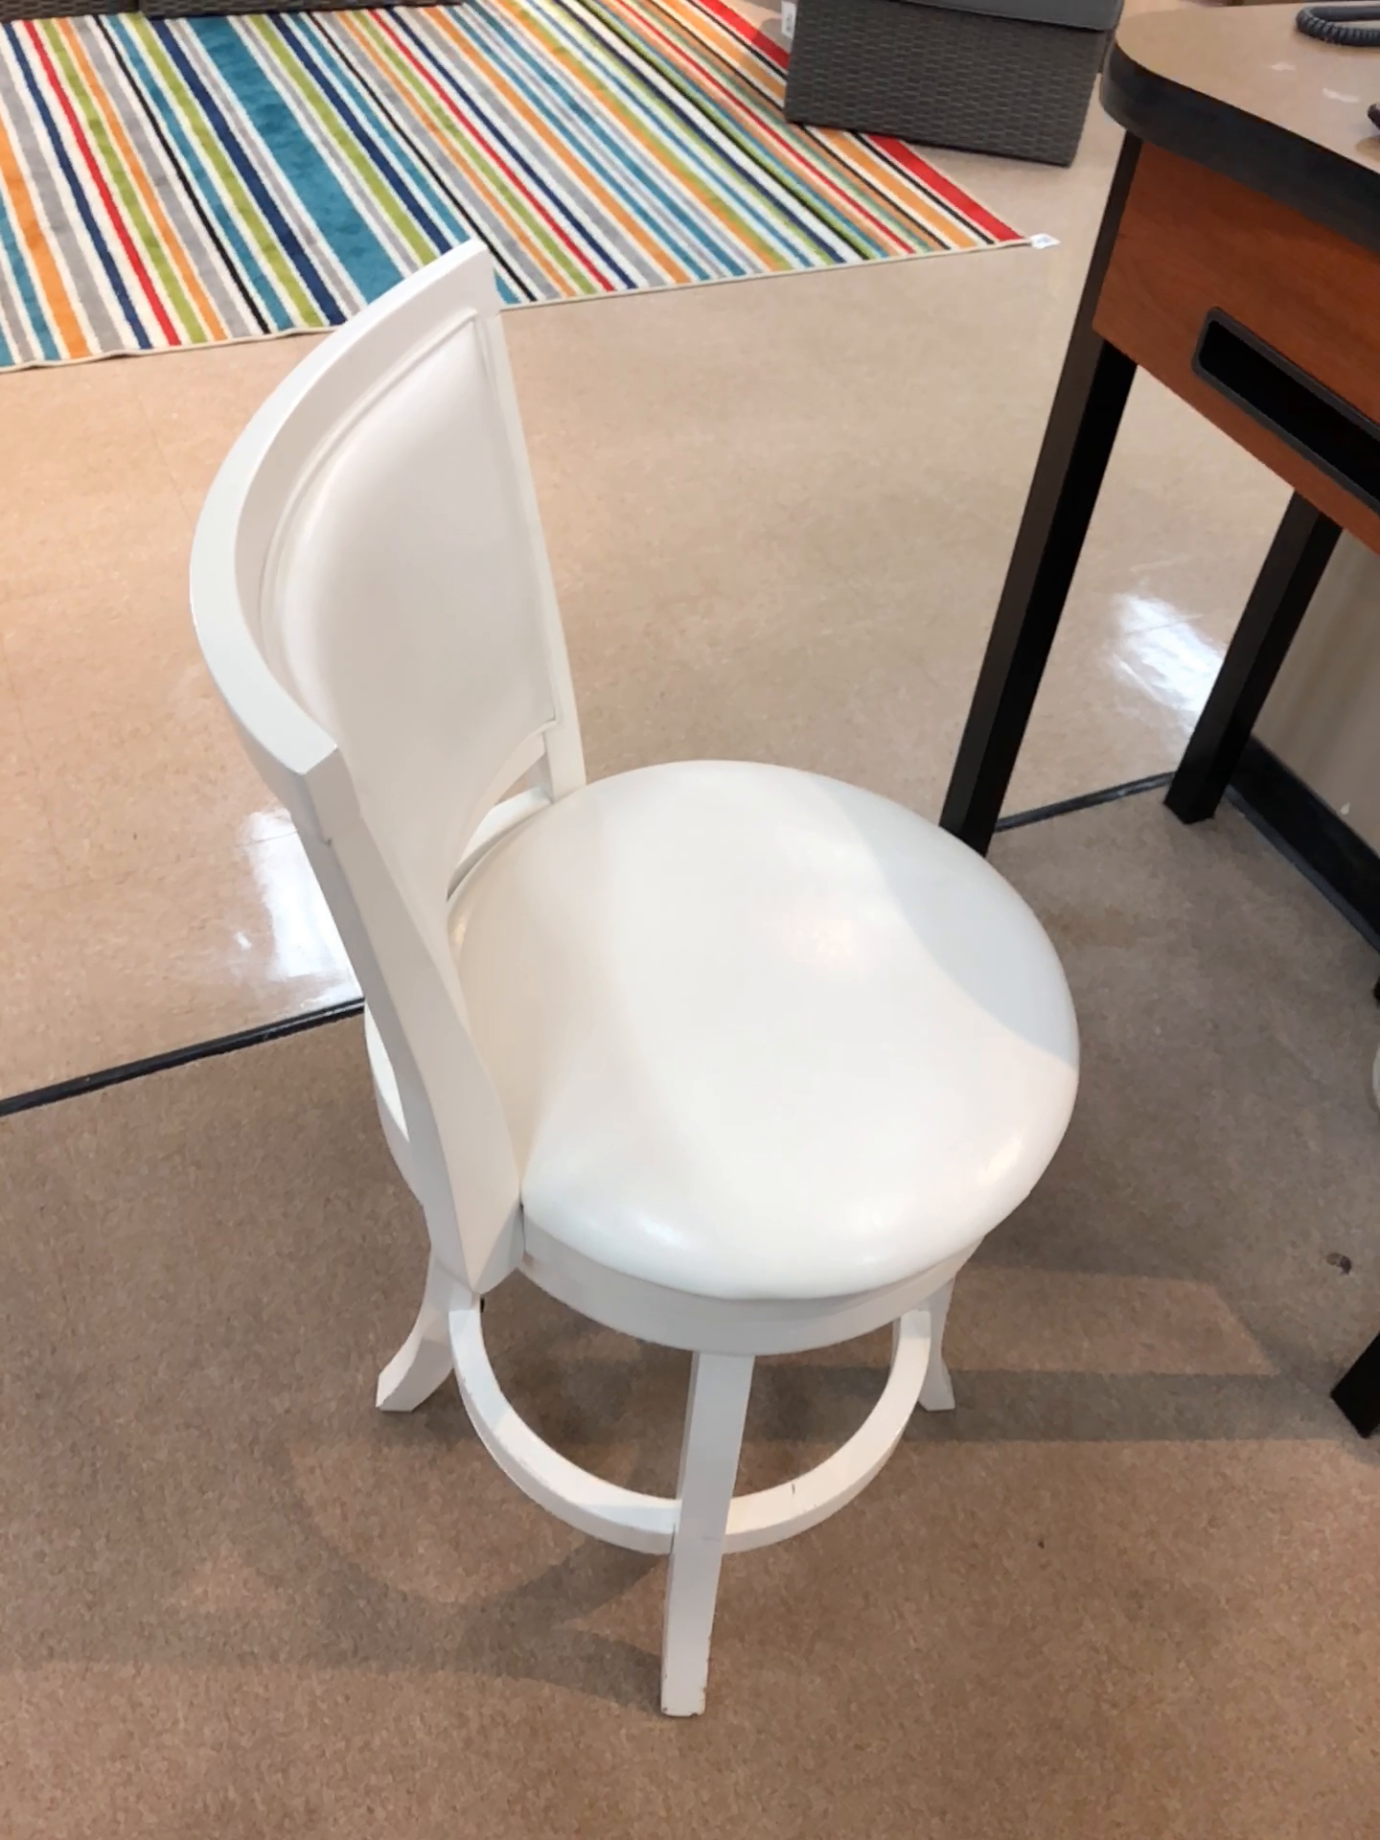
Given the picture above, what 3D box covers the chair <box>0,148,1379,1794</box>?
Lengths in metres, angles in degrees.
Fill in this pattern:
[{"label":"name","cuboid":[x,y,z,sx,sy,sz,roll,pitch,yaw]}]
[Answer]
[{"label":"chair","cuboid":[0.026,0.100,1.074,0.570,0.944,0.624,8,46,2]}]
